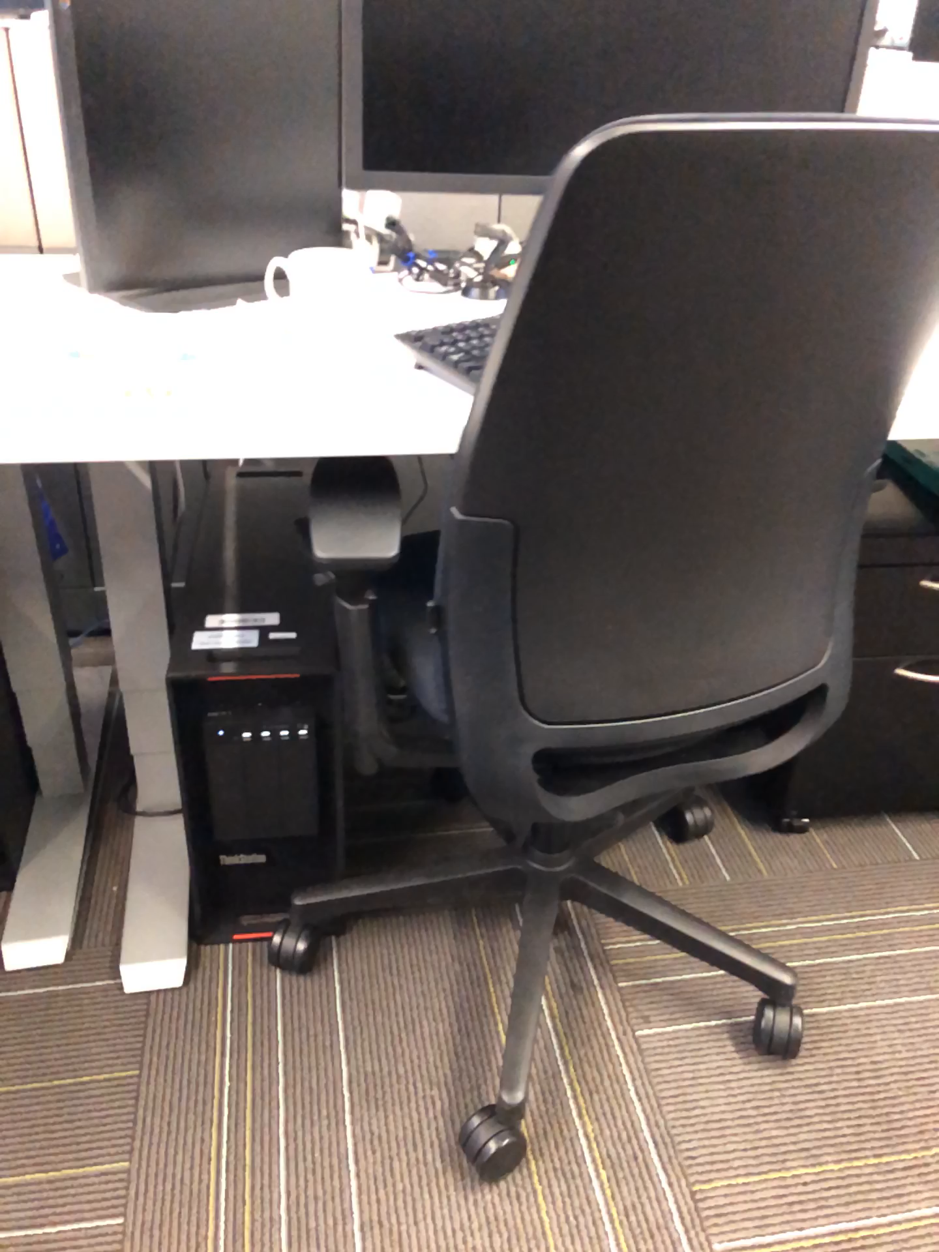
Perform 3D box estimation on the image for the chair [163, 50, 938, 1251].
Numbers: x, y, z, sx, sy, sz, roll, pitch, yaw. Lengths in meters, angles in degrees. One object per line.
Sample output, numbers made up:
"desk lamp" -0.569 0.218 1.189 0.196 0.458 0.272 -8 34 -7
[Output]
"chair" 0.114 -0.024 1.163 0.710 1.044 0.724 -8 32 -18
